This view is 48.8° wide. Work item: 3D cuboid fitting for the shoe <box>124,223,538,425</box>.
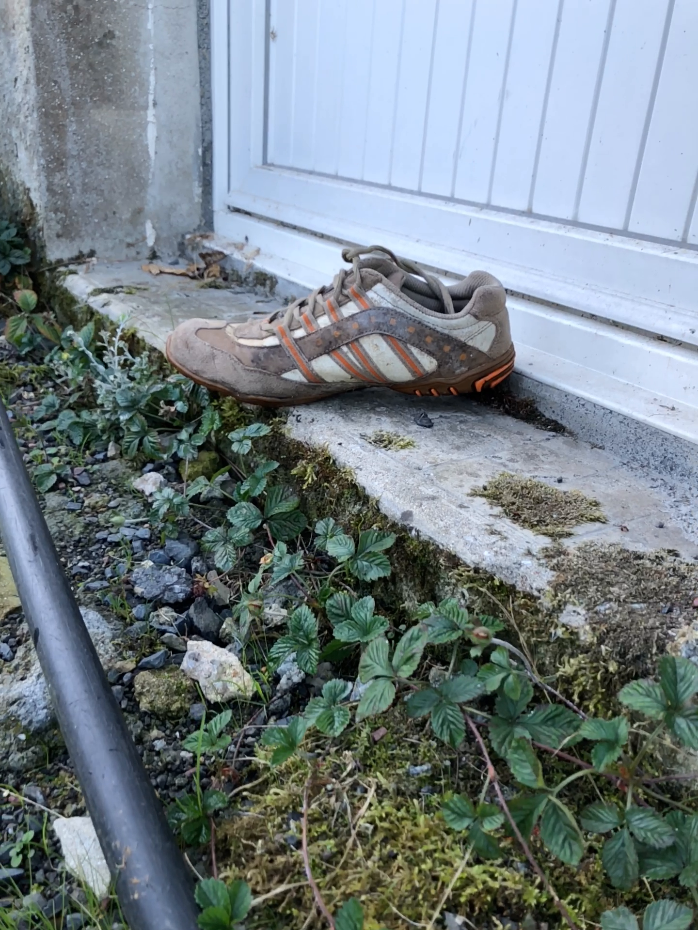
[{"bbox_3d":[-0.011,-0.109,0.566,0.270,0.099,0.111,6,24,5],"label":"shoe"}]
